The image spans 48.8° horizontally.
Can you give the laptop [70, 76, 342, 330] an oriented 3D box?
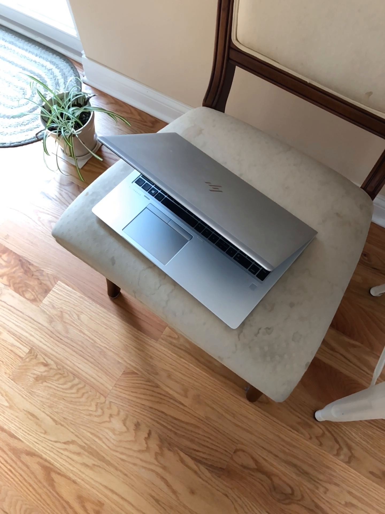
[{"bbox_3d":[0.018,-0.100,0.751,0.366,0.159,0.244,39,73,17],"label":"laptop"}]
